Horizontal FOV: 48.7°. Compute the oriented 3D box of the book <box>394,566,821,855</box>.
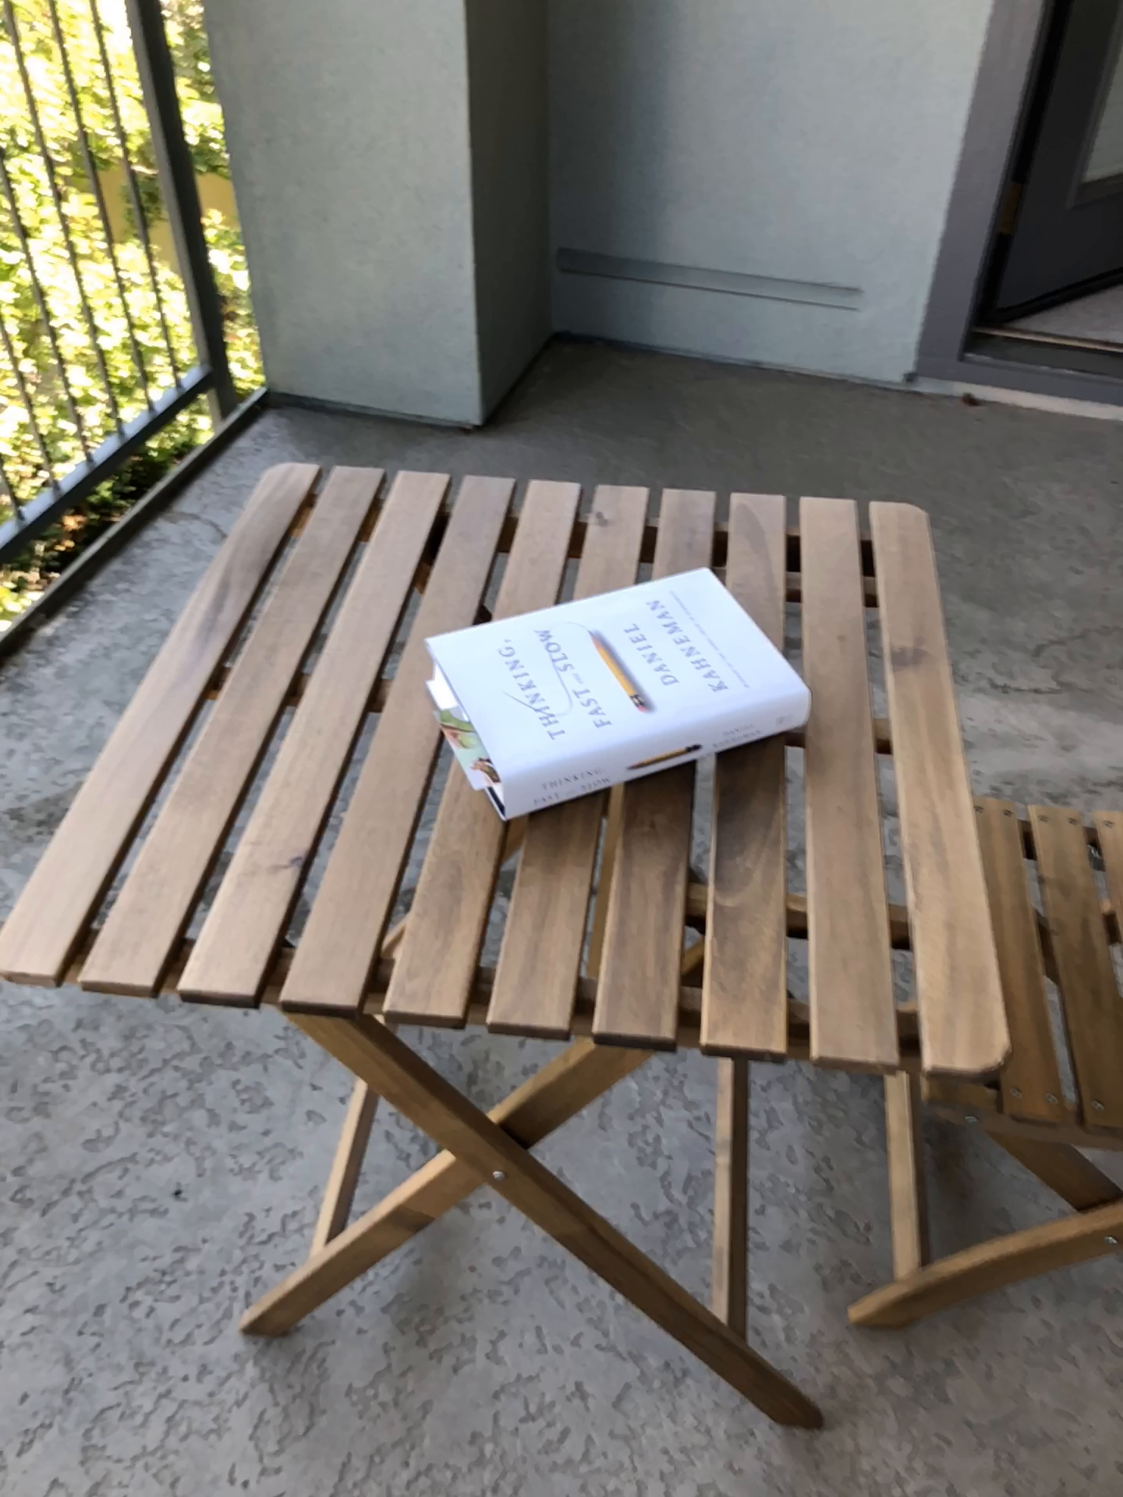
[{"bbox_3d":[0.030,-0.038,0.924,0.260,0.050,0.181,-16,46,-17],"label":"book"}]
